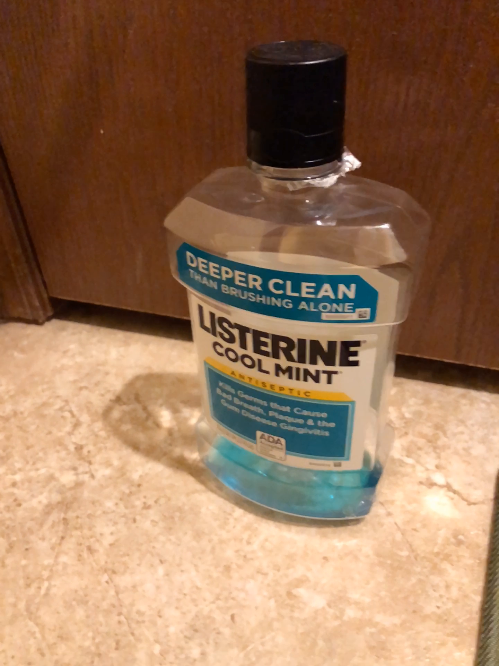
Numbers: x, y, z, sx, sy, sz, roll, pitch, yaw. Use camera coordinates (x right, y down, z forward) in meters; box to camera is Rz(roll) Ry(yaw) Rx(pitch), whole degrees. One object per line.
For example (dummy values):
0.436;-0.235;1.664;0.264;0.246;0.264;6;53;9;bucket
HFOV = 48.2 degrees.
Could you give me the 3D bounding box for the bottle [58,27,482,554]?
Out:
0.016;-0.014;0.271;0.130;0.219;0.090;14;41;20;bottle
